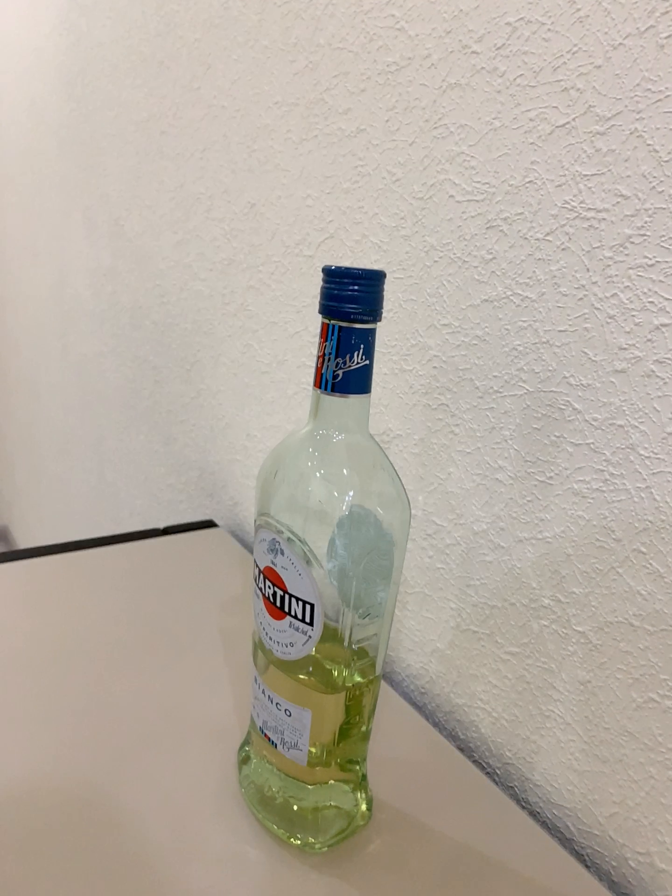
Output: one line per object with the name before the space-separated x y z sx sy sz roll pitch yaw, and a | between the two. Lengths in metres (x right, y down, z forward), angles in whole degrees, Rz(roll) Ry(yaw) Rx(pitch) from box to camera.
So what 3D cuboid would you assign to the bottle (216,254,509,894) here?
bottle | 0.003 0.062 0.374 0.080 0.309 0.100 -7 21 -38
